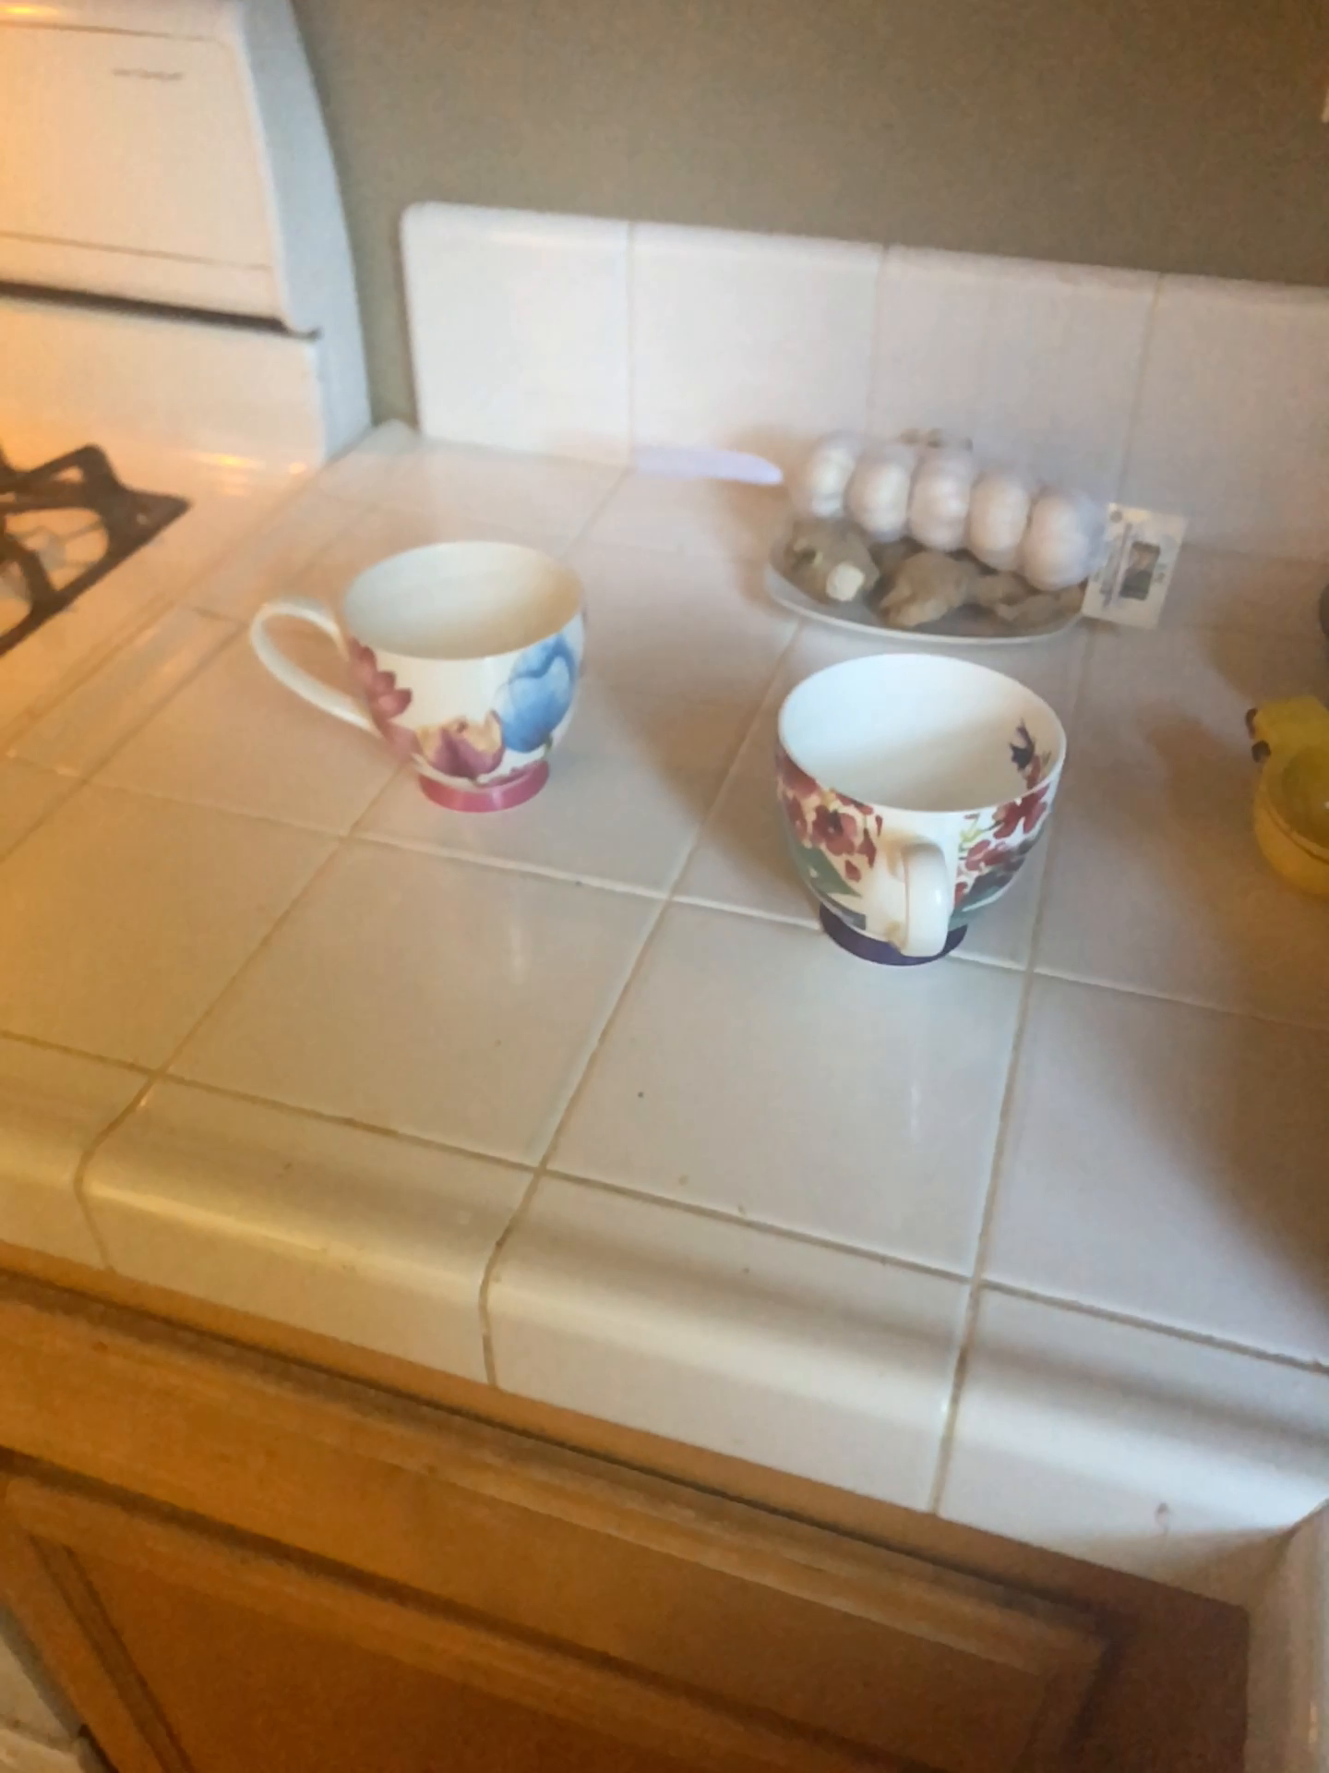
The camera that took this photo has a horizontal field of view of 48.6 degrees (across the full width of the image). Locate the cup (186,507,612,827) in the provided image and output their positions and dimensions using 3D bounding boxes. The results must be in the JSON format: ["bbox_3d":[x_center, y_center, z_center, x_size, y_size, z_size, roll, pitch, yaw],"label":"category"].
[{"bbox_3d":[-0.111,-0.101,0.658,0.150,0.079,0.111,8,41,10],"label":"cup"}]

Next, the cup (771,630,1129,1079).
[{"bbox_3d":[0.100,-0.017,0.558,0.110,0.089,0.151,3,40,4],"label":"cup"}]
